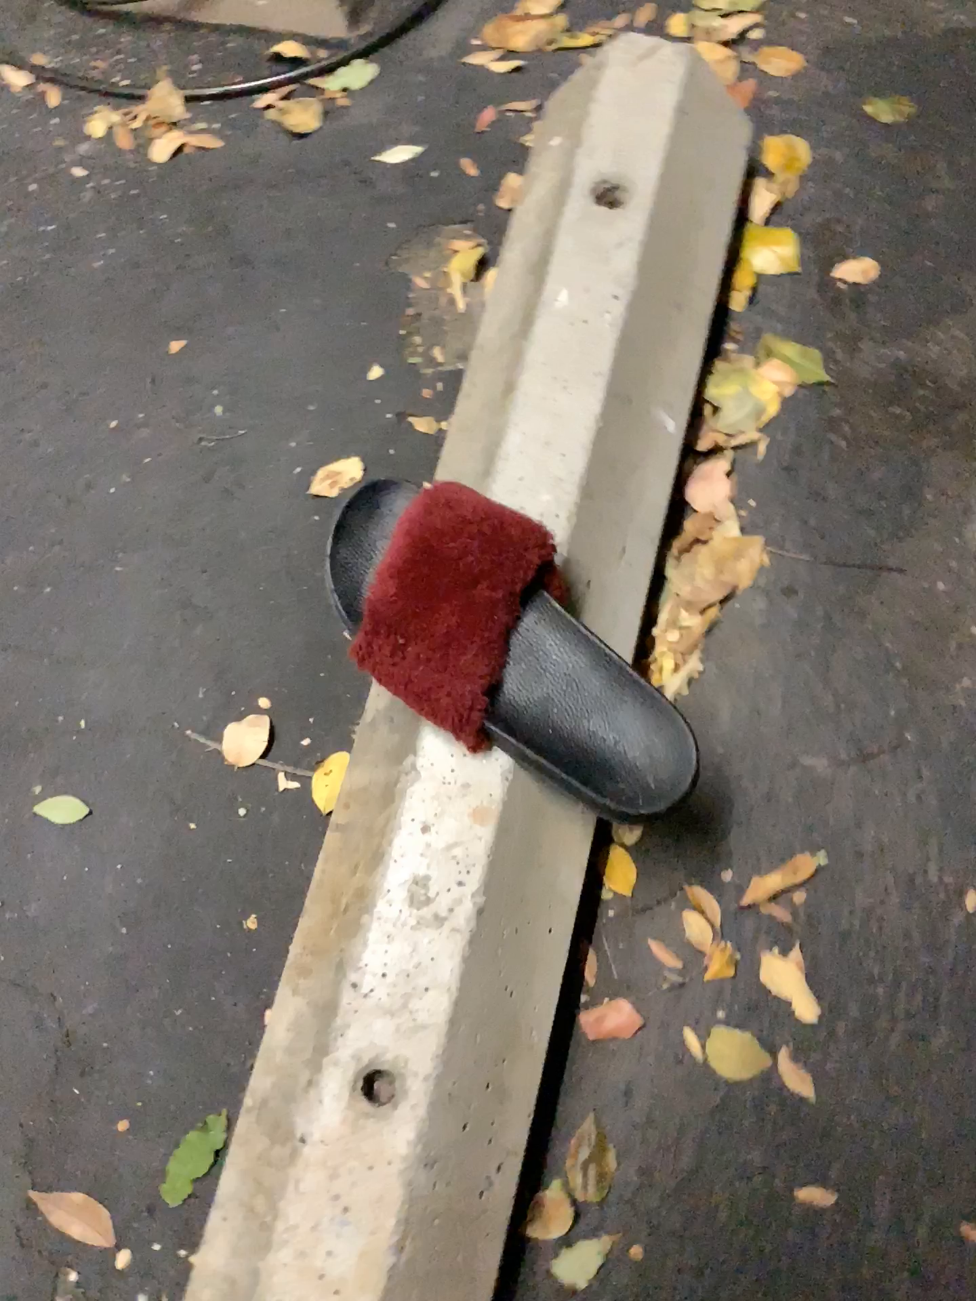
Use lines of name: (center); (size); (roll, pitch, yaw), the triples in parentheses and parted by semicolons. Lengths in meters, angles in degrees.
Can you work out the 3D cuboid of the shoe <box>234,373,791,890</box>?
shoe: (0.010, -0.016, 0.610); (0.280, 0.050, 0.140); (41, 77, 13)
